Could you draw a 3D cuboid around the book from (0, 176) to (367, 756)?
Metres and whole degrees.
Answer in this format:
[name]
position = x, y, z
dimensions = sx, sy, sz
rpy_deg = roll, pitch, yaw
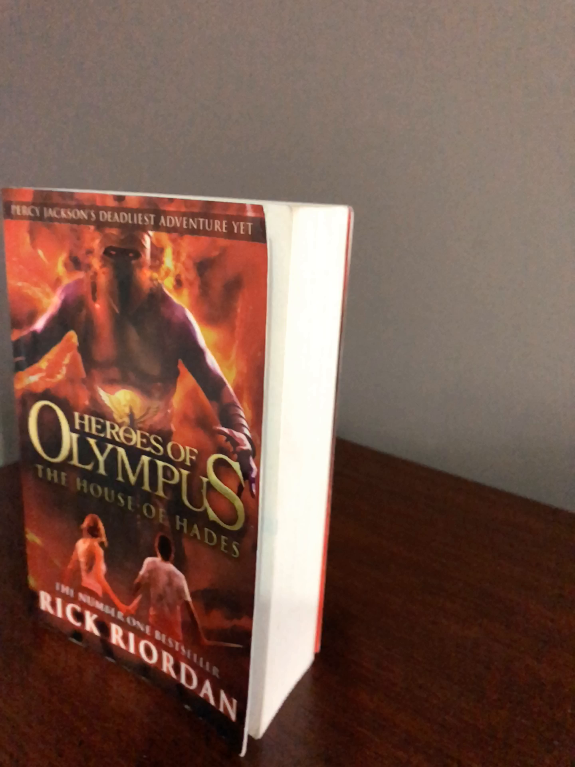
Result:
[book]
position = -0.051, 0.022, 0.268
dimensions = 0.140, 0.199, 0.060
rpy_deg = 12, 19, 28
